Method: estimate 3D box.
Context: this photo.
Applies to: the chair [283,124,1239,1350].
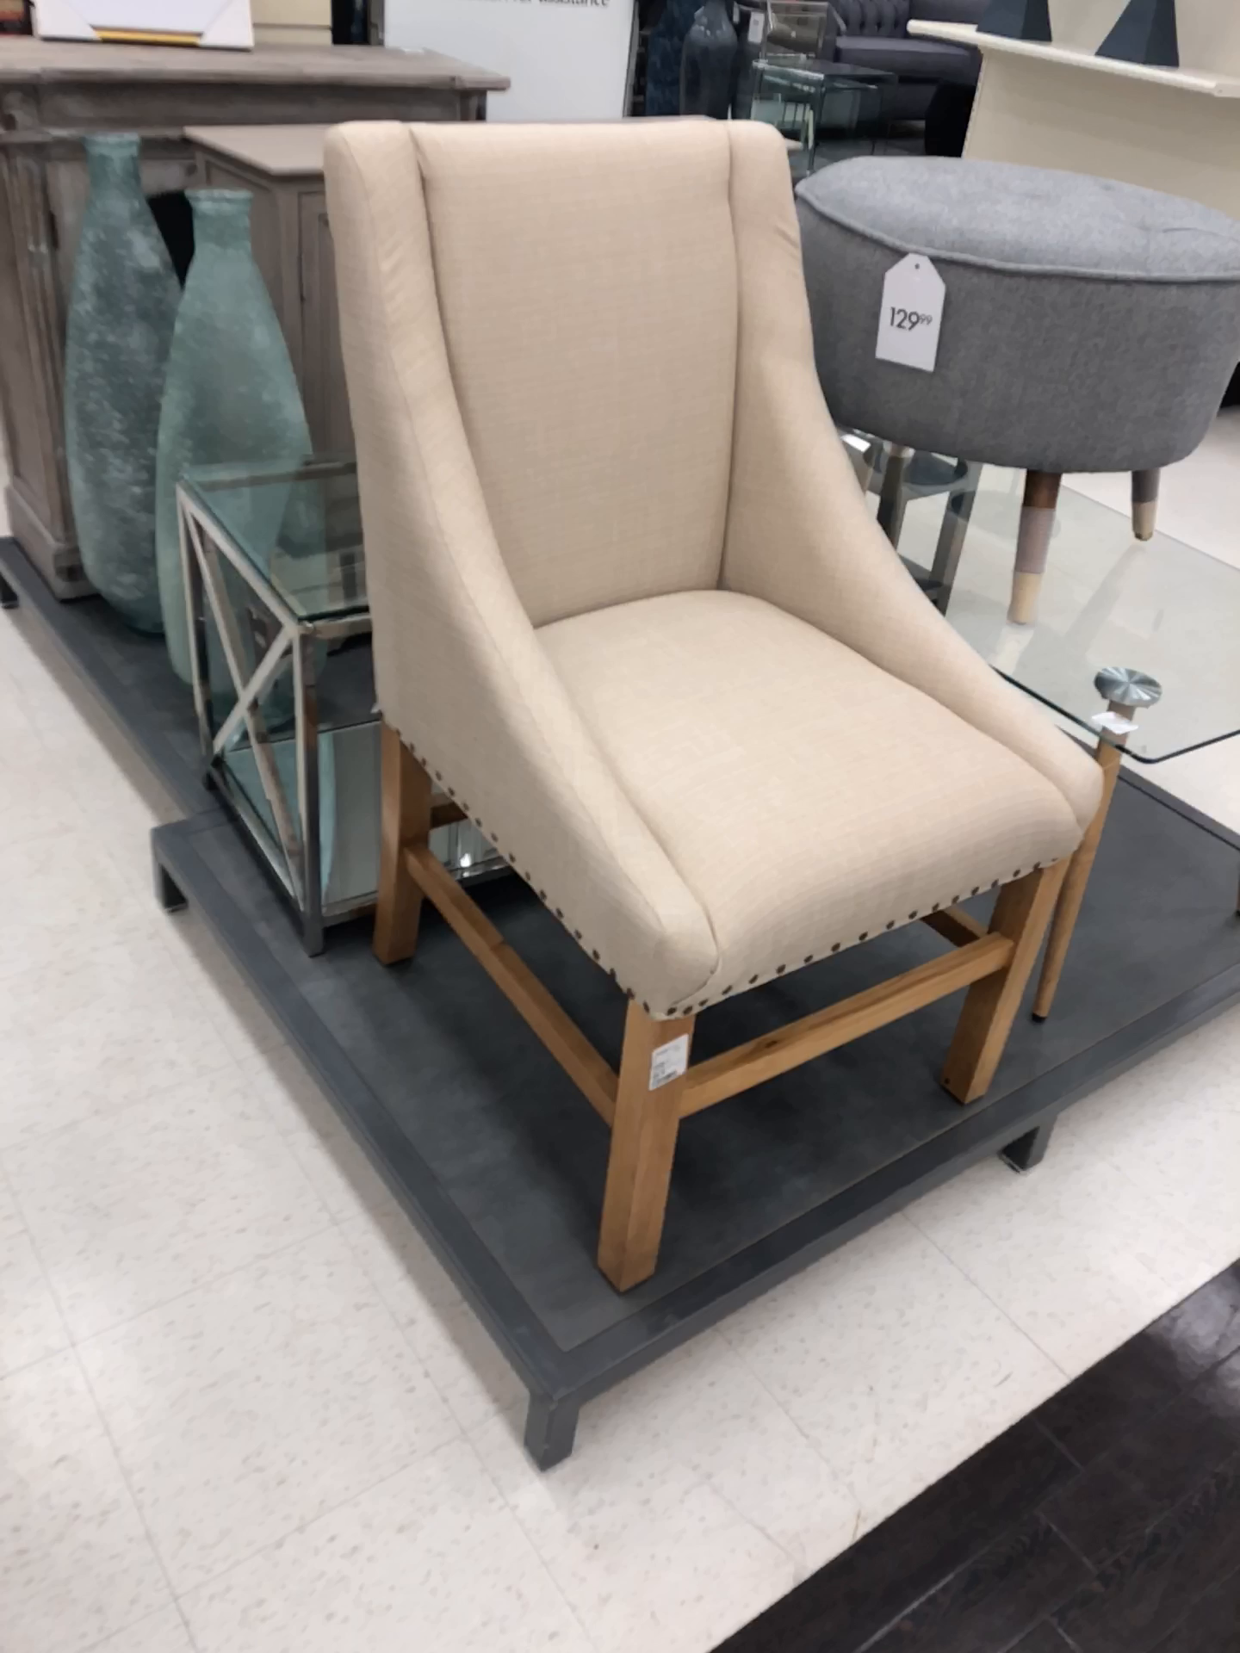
[{"bbox_3d":[0.095,-0.135,1.402,0.611,0.966,0.652,-19,42,-32],"label":"chair"}]
